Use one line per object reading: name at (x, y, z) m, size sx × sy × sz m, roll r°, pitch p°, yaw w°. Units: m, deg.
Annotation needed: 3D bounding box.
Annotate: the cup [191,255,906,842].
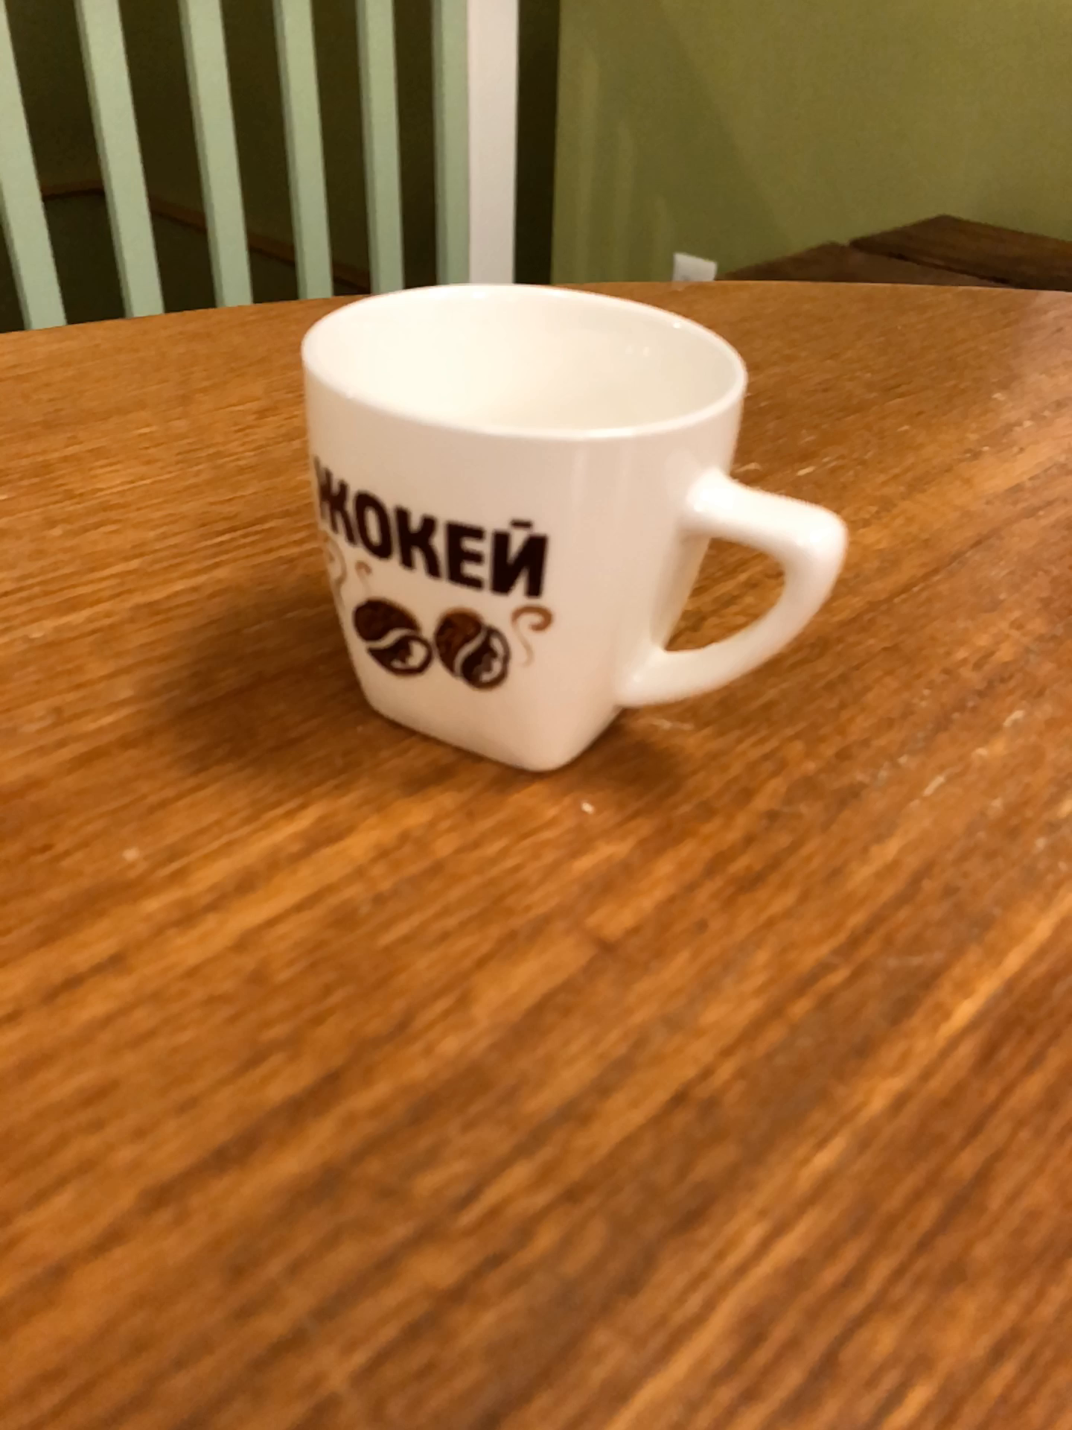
cup at (0.003, -0.030, 0.171) m, size 0.075 × 0.047 × 0.060 m, roll 20°, pitch 39°, yaw 24°
